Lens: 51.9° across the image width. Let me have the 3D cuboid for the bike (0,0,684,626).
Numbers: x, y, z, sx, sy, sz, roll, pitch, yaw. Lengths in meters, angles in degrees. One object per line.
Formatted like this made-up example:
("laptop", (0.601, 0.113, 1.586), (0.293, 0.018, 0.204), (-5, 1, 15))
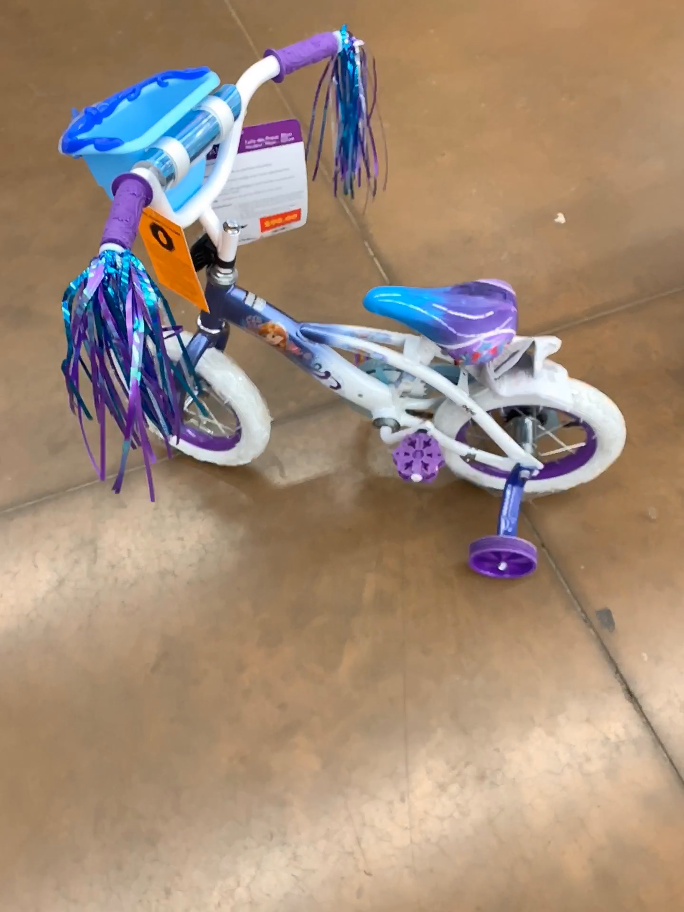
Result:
("bike", (0.024, -0.160, 0.910), (0.804, 0.634, 0.441), (10, 59, 4))
